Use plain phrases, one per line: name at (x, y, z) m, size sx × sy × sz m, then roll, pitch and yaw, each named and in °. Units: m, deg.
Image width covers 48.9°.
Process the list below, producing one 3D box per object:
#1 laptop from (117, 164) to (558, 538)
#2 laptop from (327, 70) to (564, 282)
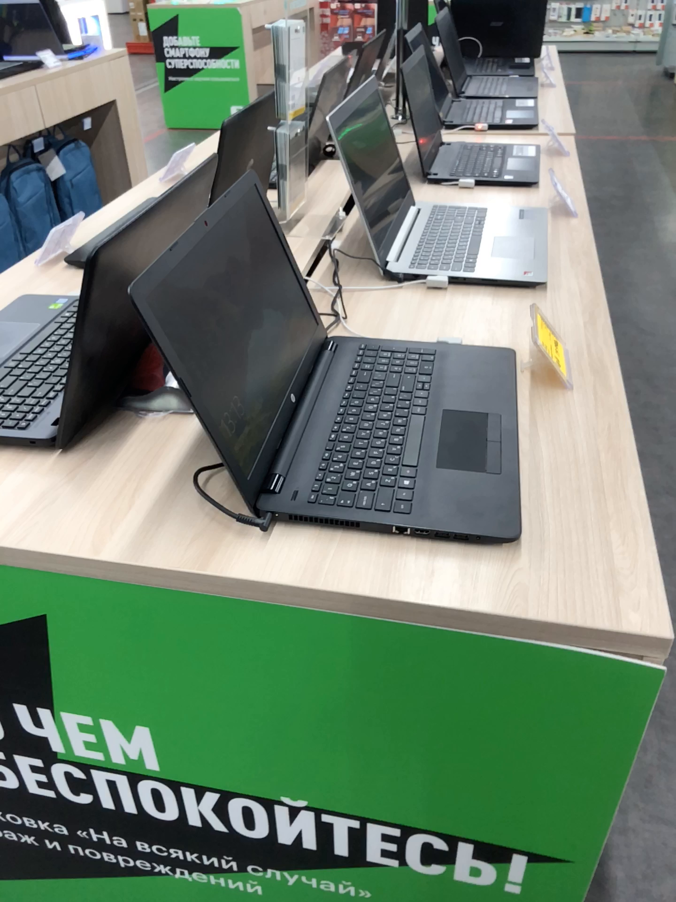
laptop at (0.029, -0.134, 0.779) m, size 0.341 × 0.217 × 0.378 m, roll 5°, pitch 35°, yaw 9°
laptop at (0.193, -0.487, 1.273) m, size 0.339 × 0.226 × 0.372 m, roll 7°, pitch 36°, yaw 11°
